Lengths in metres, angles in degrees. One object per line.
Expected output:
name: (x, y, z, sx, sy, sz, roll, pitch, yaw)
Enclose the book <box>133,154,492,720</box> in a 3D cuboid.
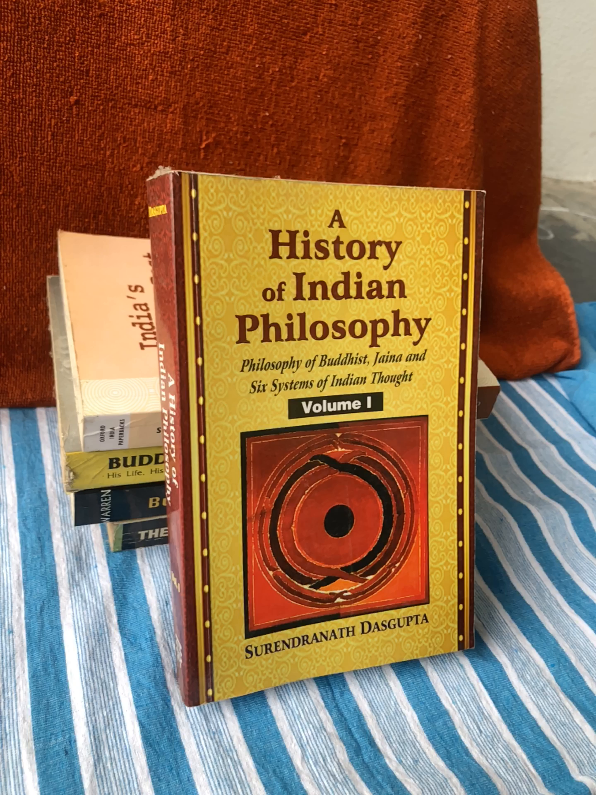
book: (0.008, 0.013, 0.293, 0.141, 0.216, 0.048, -4, 10, -19)
